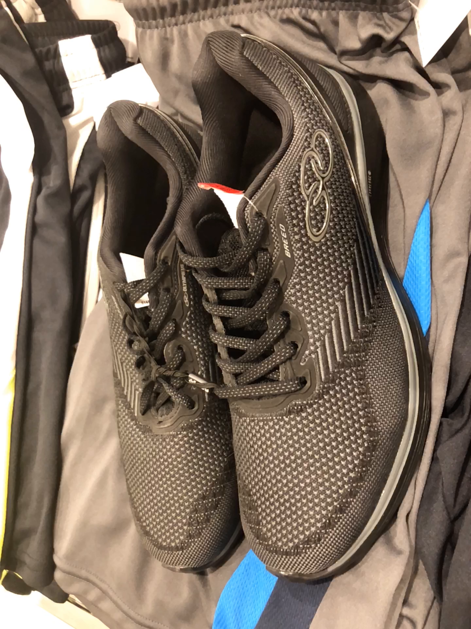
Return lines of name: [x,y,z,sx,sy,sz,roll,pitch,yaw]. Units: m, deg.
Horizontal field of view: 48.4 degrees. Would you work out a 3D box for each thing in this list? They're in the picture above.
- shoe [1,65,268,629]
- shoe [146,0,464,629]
shoe: [-0.051,0.017,0.311,0.100,0.100,0.270,-8,75,34]
shoe: [0.033,-0.016,0.253,0.100,0.100,0.280,-8,75,34]
